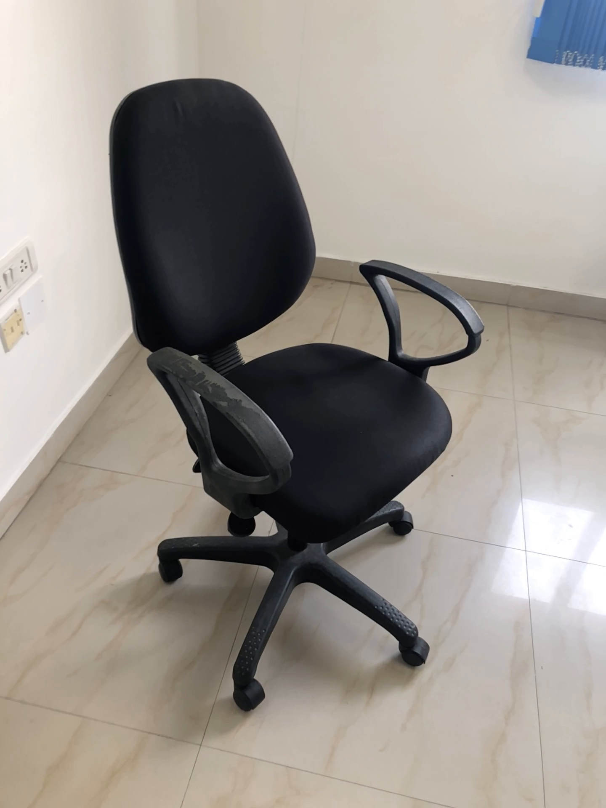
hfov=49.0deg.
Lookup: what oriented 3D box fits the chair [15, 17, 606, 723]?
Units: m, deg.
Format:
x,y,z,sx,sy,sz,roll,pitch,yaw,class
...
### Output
x,y,z,sx,sy,sz,roll,pitch,yaw,class
0.072,-0.115,1.206,0.671,0.884,0.683,27,43,26,chair
